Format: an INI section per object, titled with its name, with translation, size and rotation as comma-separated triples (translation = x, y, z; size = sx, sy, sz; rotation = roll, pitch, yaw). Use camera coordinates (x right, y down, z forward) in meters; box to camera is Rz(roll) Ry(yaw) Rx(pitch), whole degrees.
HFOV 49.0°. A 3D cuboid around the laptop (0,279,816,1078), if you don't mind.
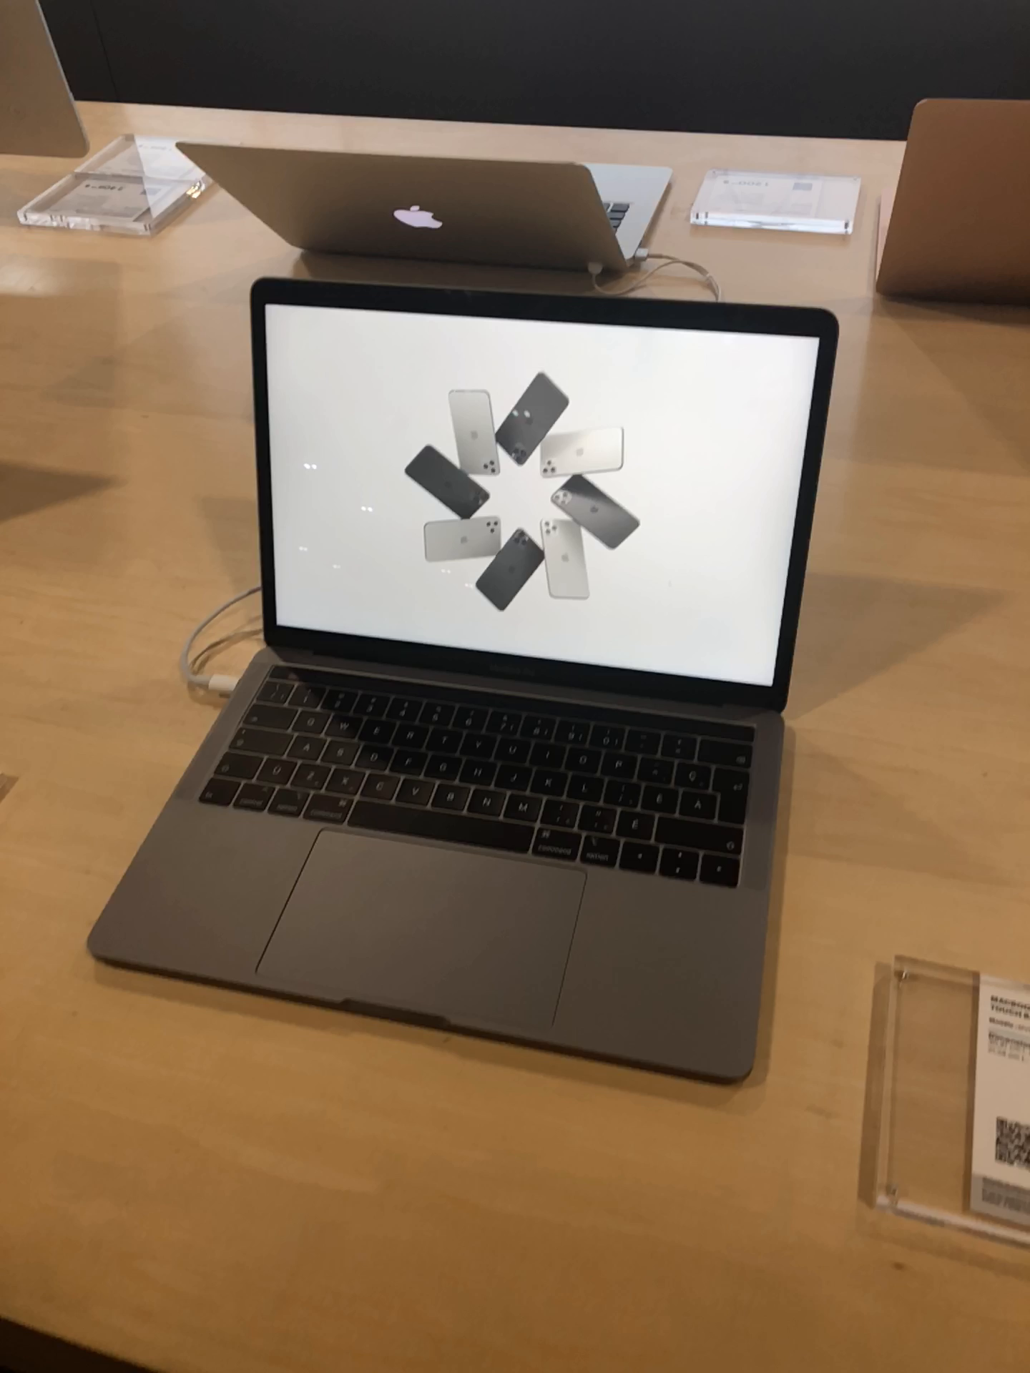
[laptop]
translation = -0.026, -0.028, 0.527
size = 0.296, 0.181, 0.296
rotation = 8, 45, 11
